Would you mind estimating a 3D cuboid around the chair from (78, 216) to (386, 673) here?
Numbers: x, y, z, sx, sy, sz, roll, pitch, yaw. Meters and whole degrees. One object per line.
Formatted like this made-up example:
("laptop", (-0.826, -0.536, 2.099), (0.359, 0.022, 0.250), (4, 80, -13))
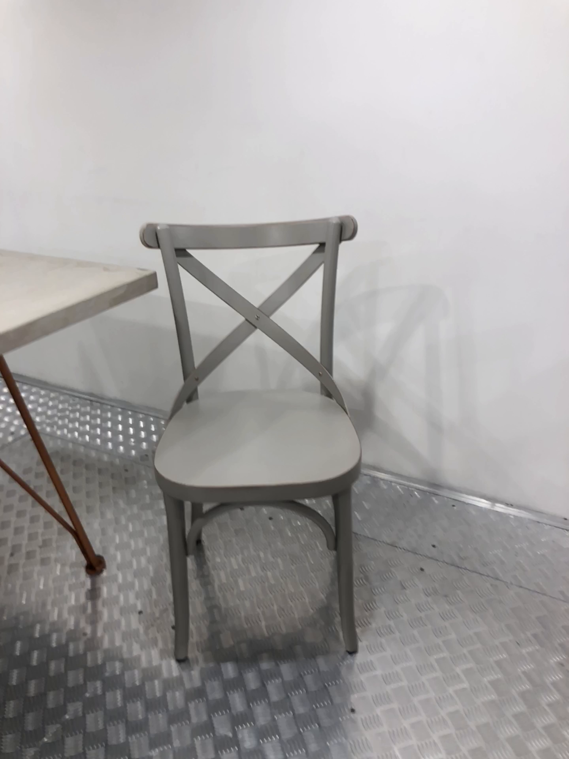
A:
("chair", (-0.081, 0.132, 1.440), (0.510, 0.894, 0.503), (-3, 24, -1))
